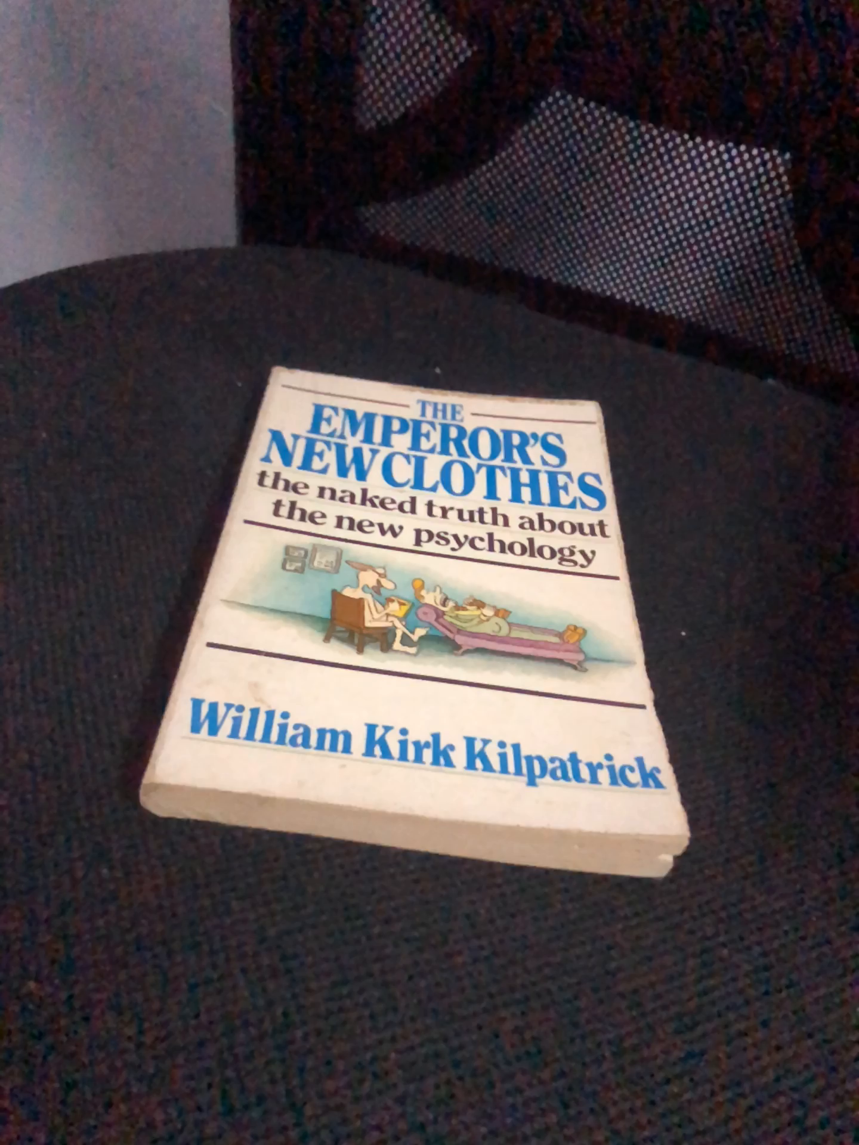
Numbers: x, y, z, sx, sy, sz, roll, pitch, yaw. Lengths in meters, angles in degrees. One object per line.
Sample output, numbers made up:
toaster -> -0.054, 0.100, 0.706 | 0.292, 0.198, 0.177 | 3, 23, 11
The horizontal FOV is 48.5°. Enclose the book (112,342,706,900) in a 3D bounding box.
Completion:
book -> 0.000, -0.006, 0.325 | 0.144, 0.020, 0.231 | 9, 39, -4
